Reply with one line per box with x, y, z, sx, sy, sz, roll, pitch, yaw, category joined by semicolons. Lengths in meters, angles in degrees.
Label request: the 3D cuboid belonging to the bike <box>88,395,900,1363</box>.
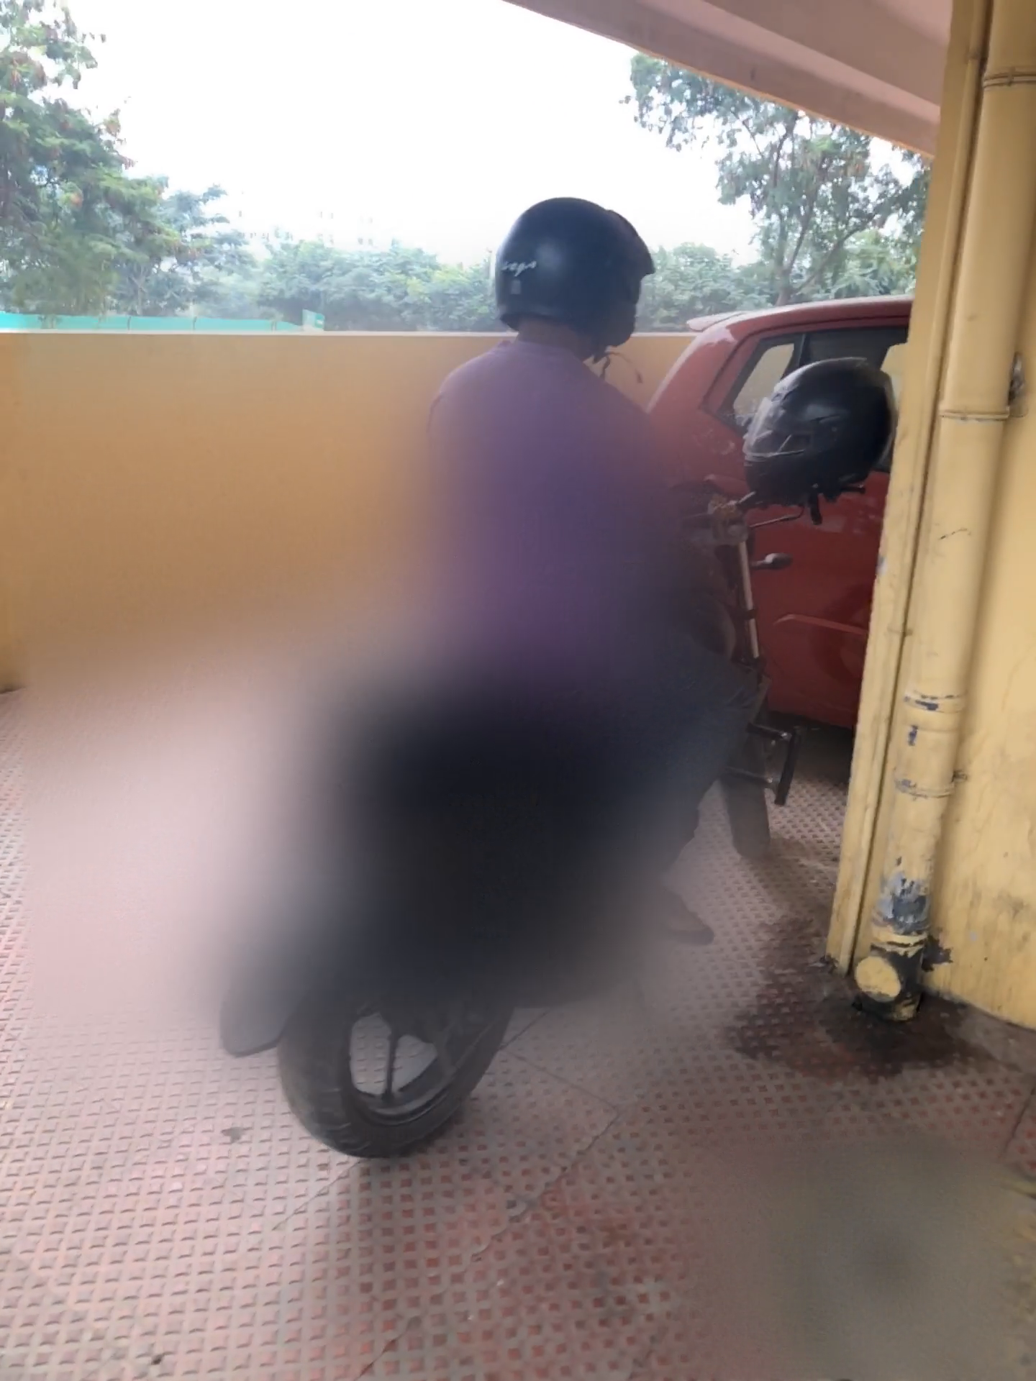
0.146;0.057;2.460;0.853;1.156;1.913;11;22;26;bike
